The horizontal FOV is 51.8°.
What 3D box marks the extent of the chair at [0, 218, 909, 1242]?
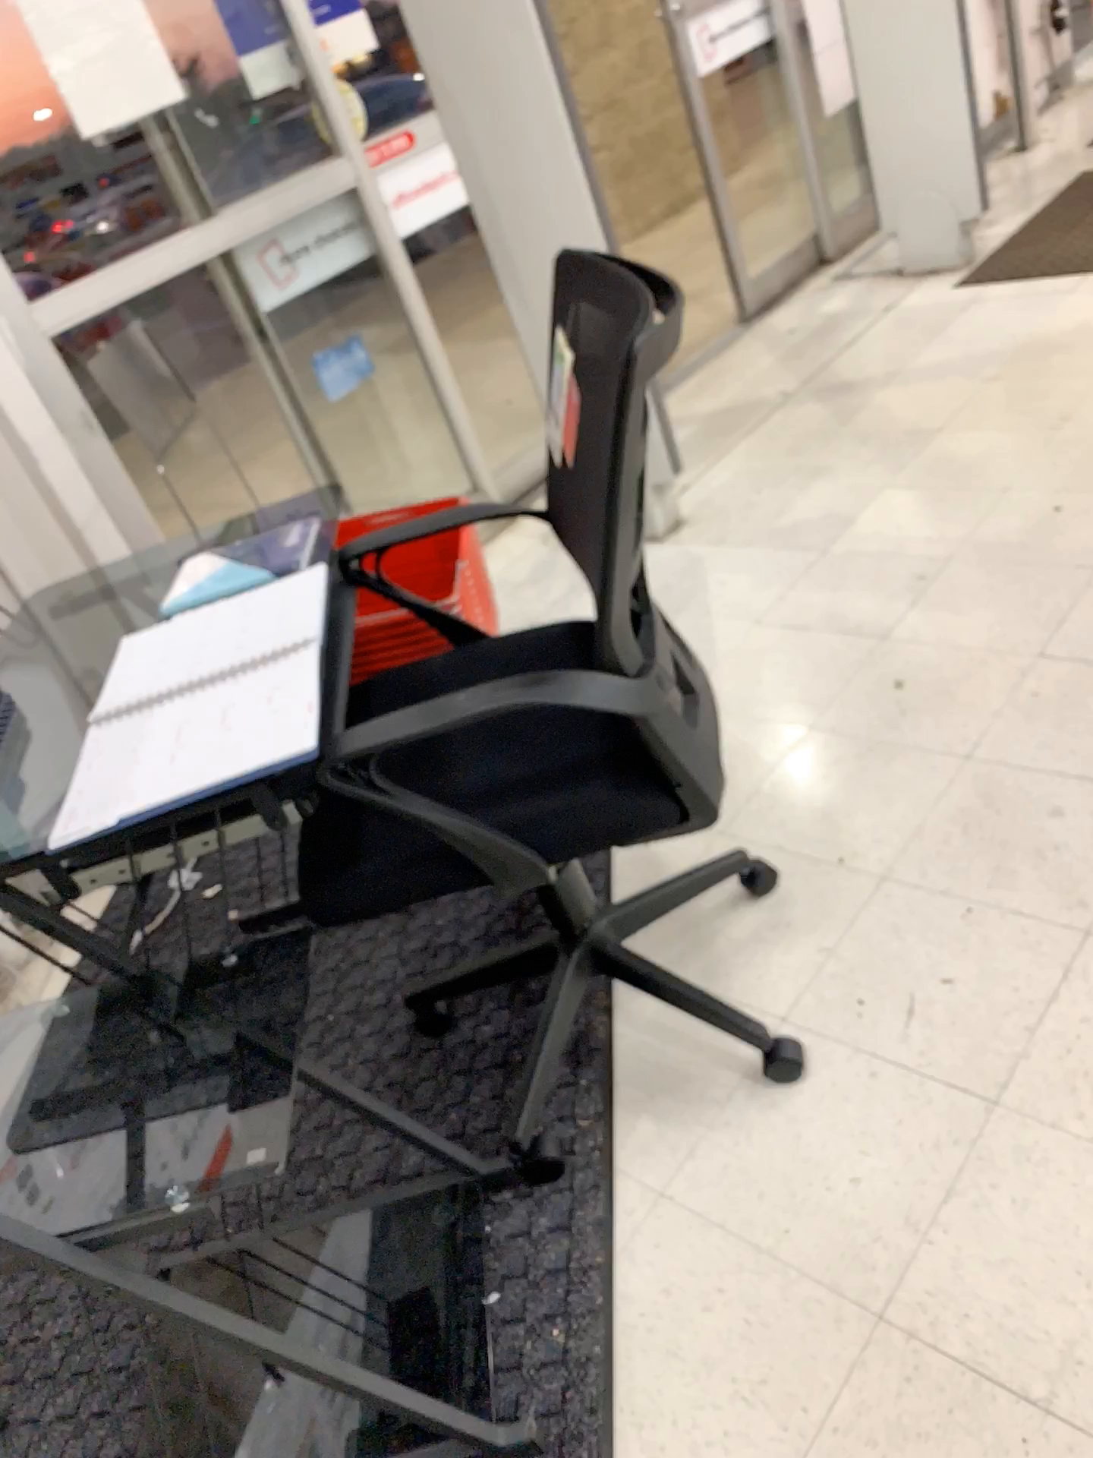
[{"bbox_3d":[-0.076,-0.001,1.434,0.694,0.942,0.618,-21,31,2],"label":"chair"}]
